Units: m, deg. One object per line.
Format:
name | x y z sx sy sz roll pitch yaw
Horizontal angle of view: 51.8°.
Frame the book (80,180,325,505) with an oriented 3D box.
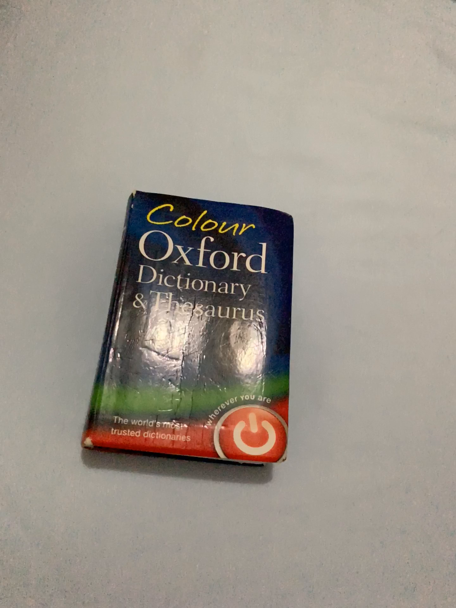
book | -0.007 0.018 0.287 0.120 0.040 0.181 6 70 0
